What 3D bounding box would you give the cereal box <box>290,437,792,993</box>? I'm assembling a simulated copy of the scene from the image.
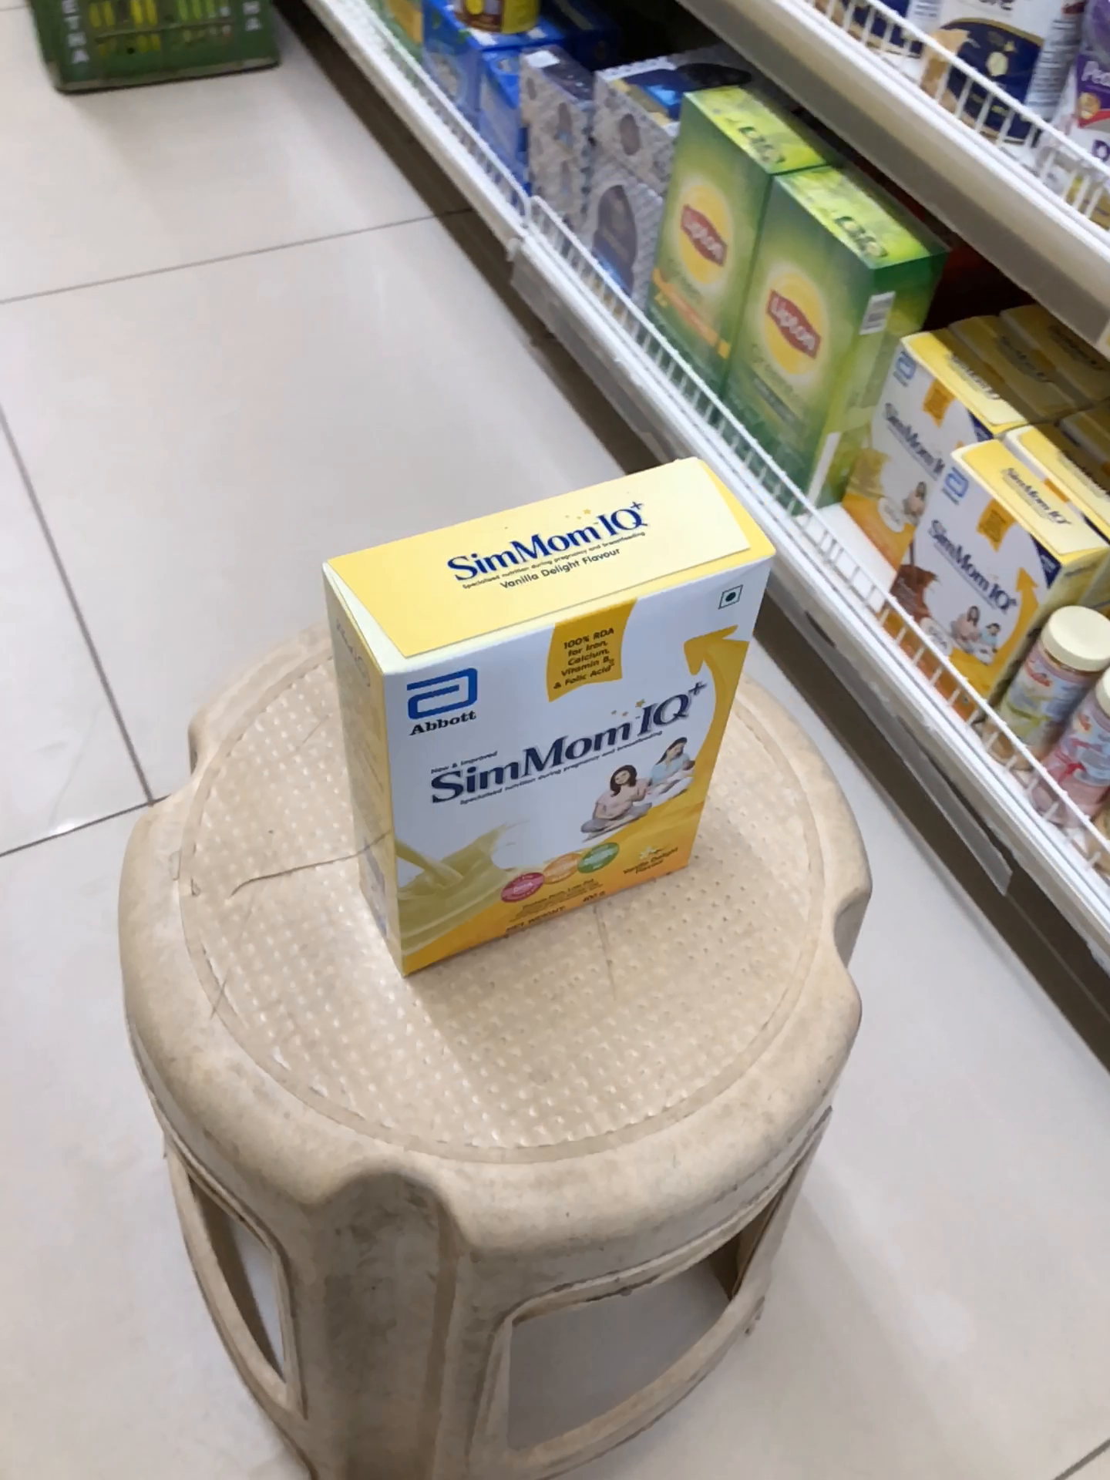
[{"bbox_3d":[-0.008,0.002,0.441,0.140,0.199,0.050,-19,58,-17],"label":"cereal box"}]
